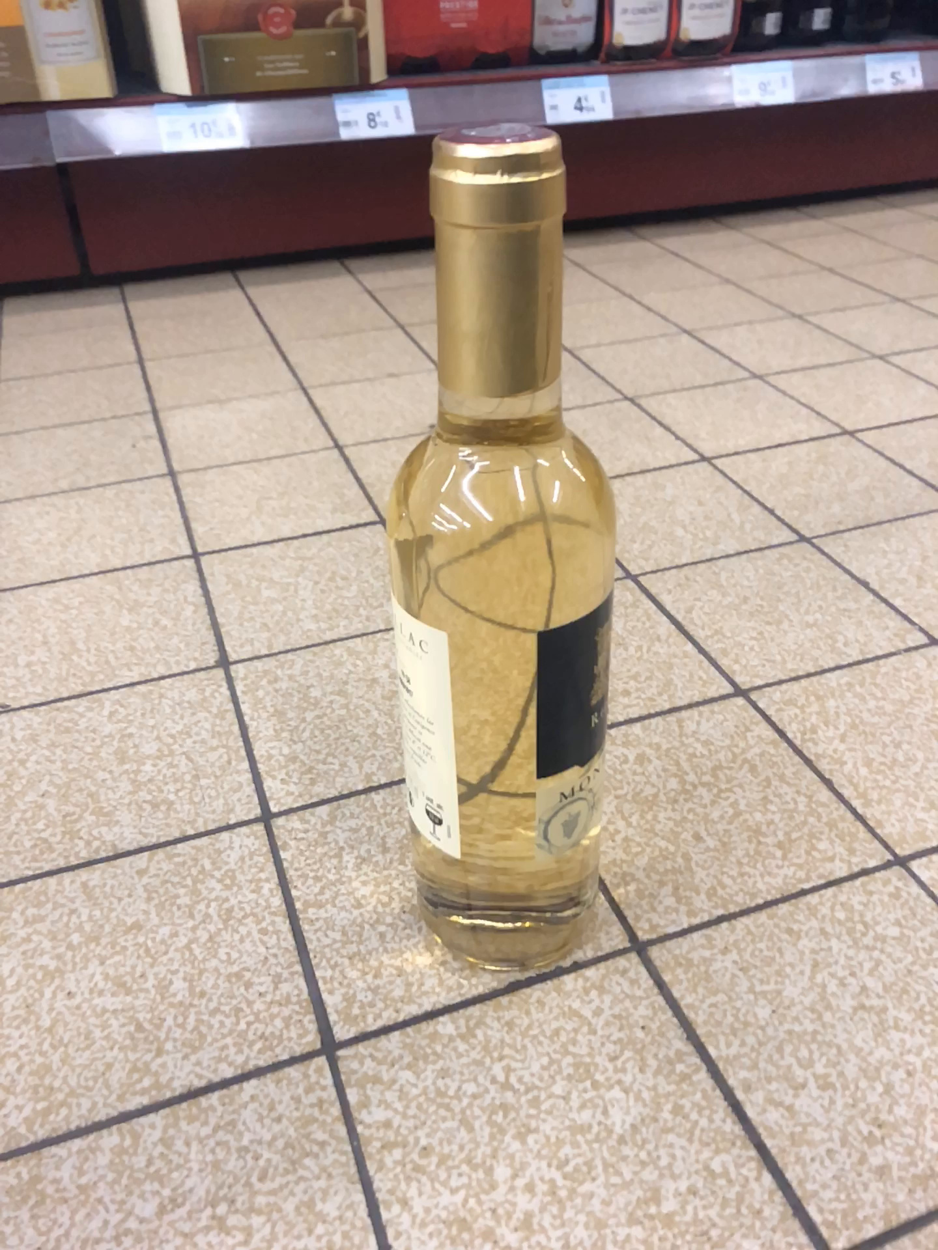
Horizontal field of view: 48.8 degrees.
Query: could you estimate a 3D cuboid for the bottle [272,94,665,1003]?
[{"bbox_3d":[0.004,-0.005,0.279,0.070,0.239,0.070,-1,34,1],"label":"bottle"}]
